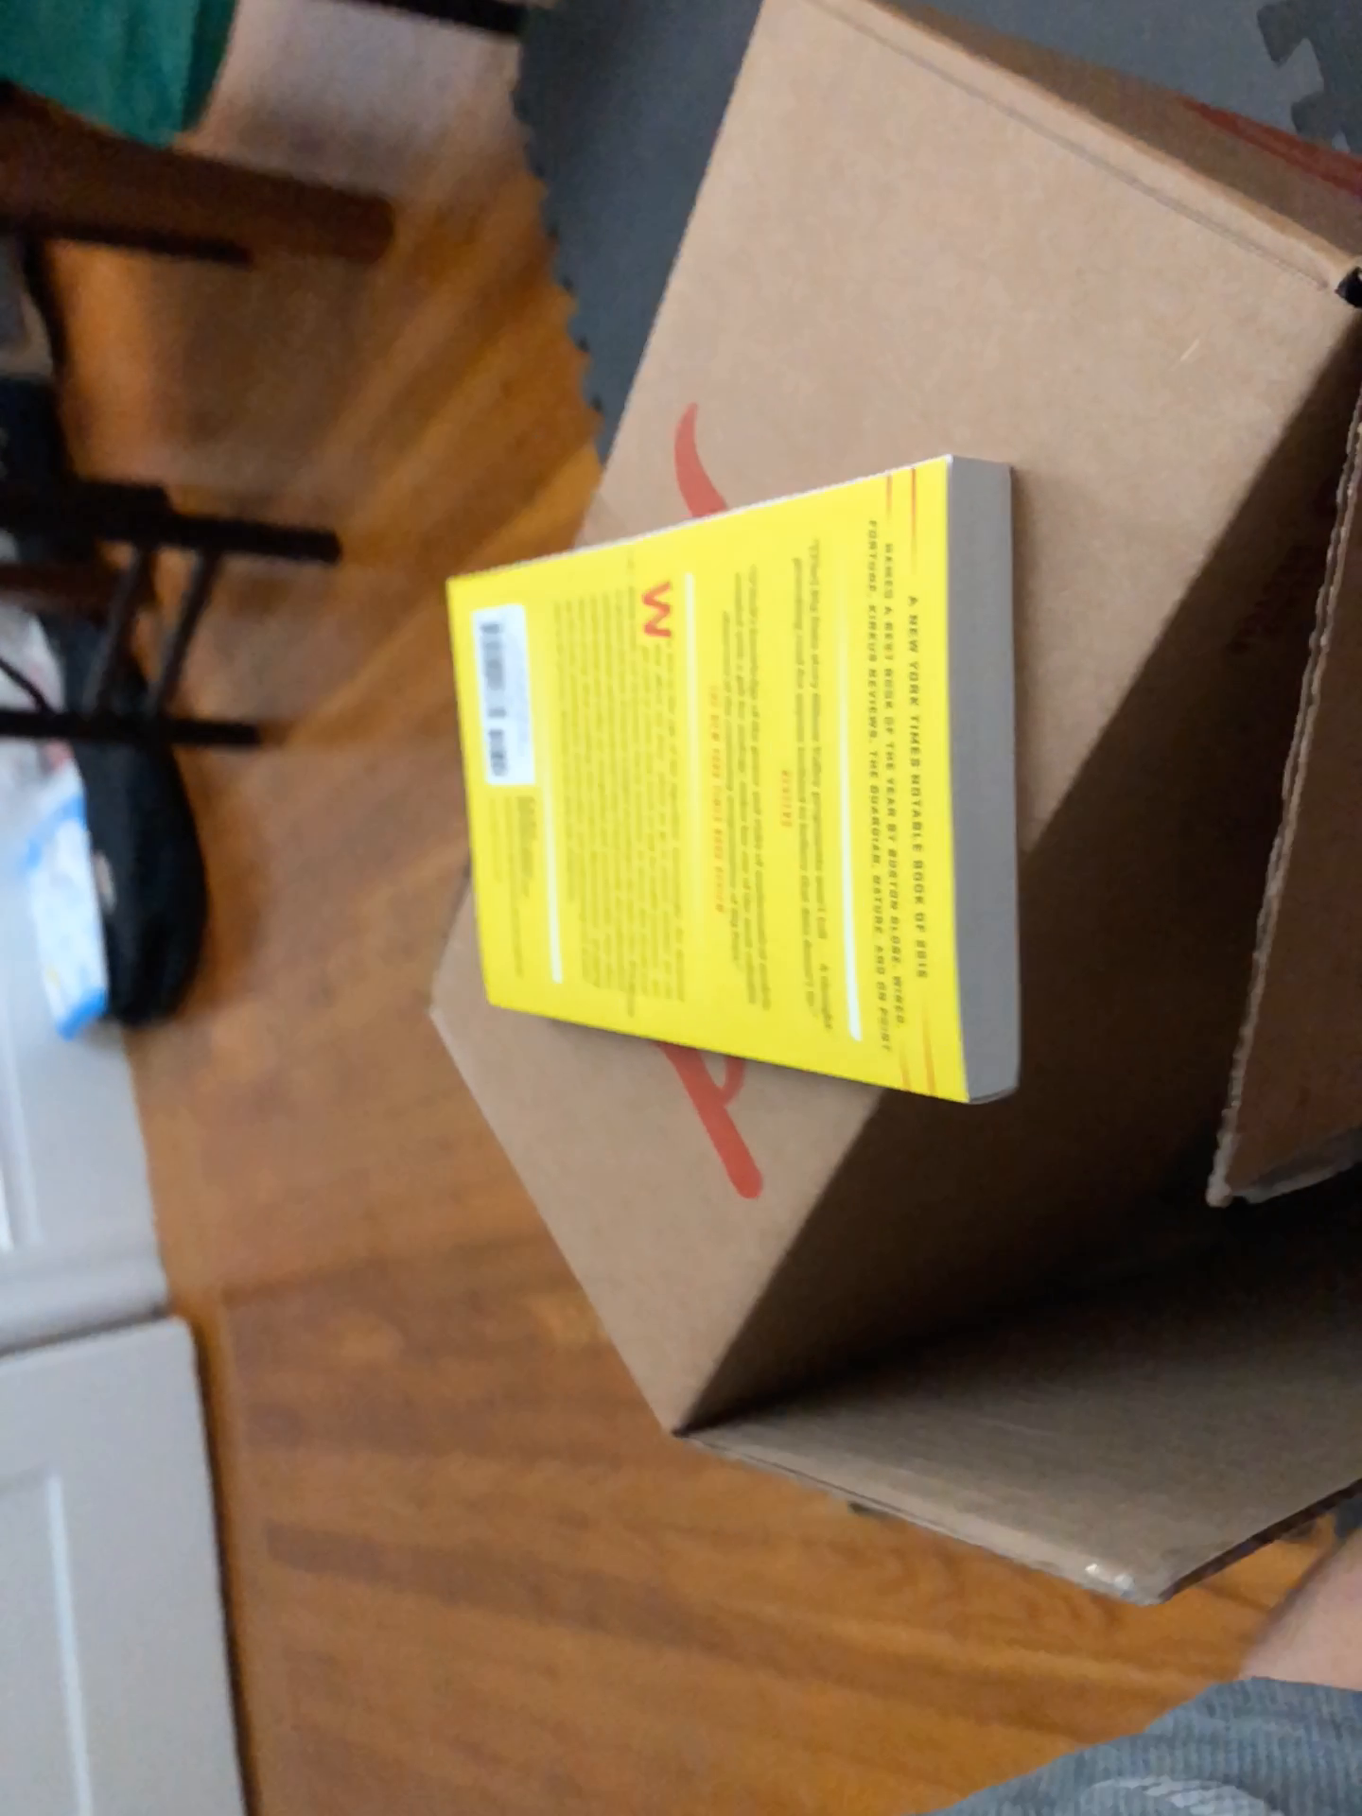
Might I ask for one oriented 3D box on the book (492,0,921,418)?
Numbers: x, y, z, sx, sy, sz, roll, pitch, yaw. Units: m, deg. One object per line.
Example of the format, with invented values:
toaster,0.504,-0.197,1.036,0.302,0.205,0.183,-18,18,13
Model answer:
book,-0.002,-0.282,0.555,0.221,0.020,0.150,3,97,53
